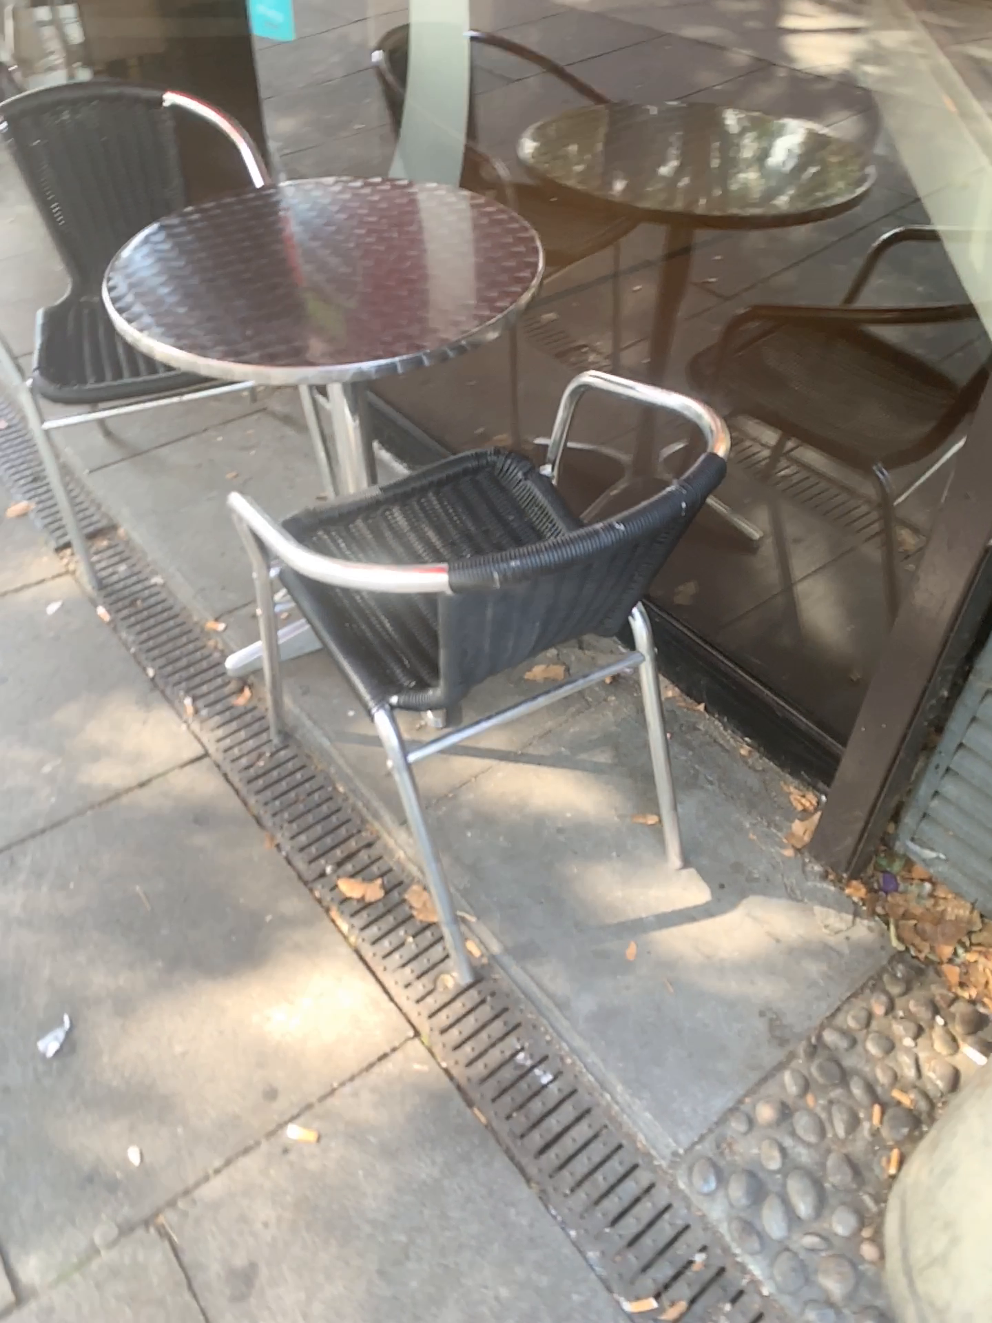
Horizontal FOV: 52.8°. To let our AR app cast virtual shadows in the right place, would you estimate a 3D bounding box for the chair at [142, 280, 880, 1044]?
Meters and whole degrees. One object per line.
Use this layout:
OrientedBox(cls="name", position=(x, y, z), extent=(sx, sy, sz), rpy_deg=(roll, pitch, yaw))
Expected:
OrientedBox(cls="chair", position=(-0.018, -0.040, 1.350), extent=(0.601, 0.604, 0.645), rpy_deg=(-22, 48, -22))
